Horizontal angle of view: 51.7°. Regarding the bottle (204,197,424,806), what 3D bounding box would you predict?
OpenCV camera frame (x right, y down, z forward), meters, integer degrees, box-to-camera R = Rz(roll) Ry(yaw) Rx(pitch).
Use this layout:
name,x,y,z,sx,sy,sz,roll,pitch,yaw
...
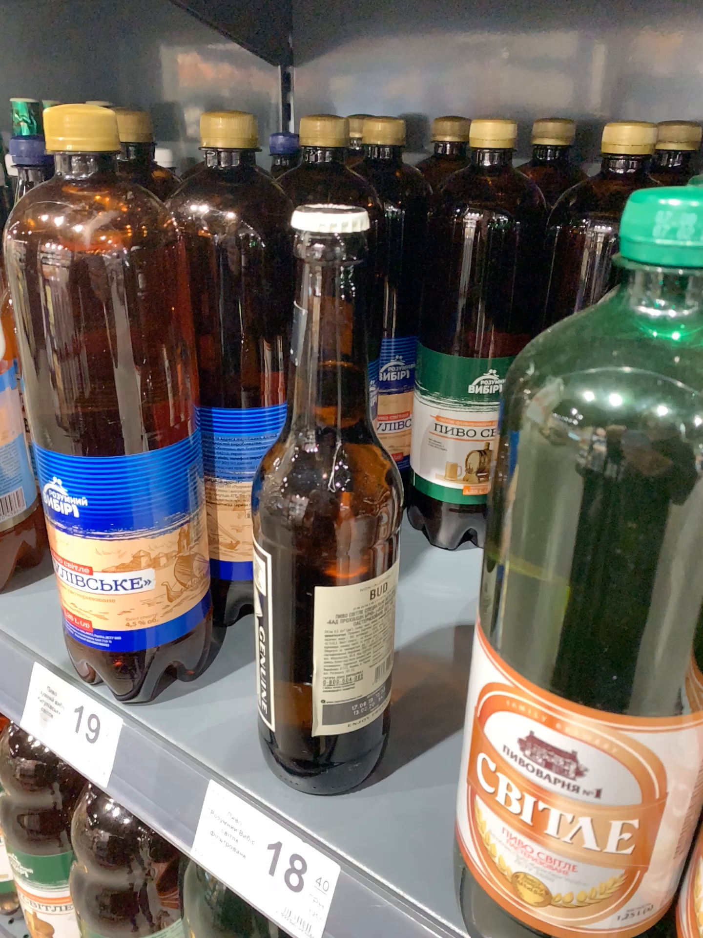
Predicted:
name,x,y,z,sx,sy,sz,roll,pitch,yaw
bottle,-0.011,0.024,0.314,0.070,0.258,0.064,1,25,0
